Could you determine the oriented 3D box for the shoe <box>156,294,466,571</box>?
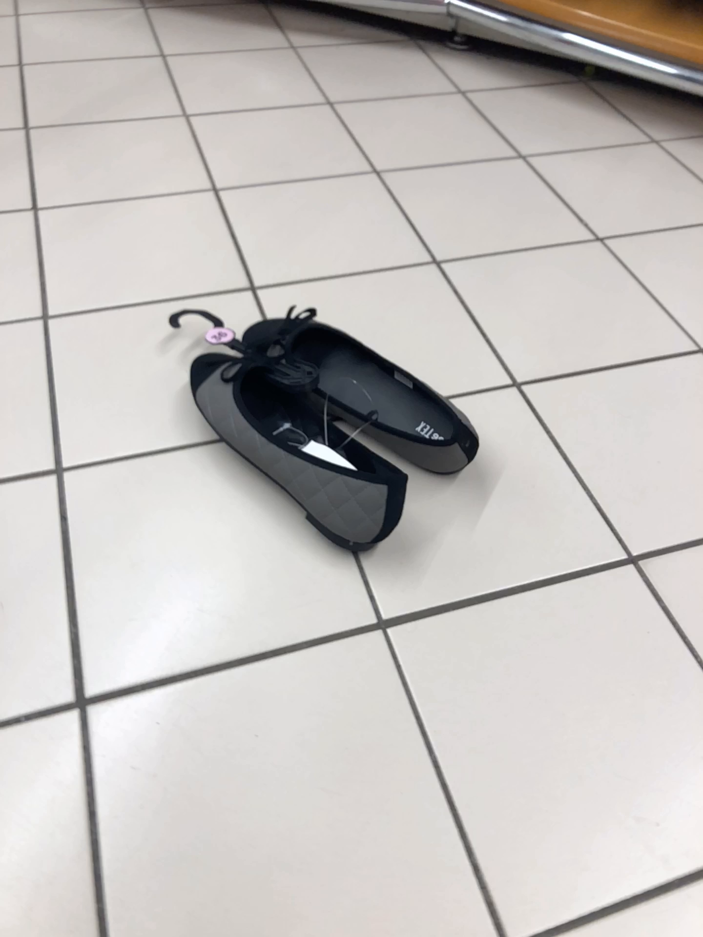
[{"bbox_3d":[-0.041,-0.038,0.597,0.242,0.080,0.078,37,40,26],"label":"shoe"}]

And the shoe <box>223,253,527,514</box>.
[{"bbox_3d":[0.018,-0.073,0.631,0.242,0.081,0.078,35,77,25],"label":"shoe"}]
